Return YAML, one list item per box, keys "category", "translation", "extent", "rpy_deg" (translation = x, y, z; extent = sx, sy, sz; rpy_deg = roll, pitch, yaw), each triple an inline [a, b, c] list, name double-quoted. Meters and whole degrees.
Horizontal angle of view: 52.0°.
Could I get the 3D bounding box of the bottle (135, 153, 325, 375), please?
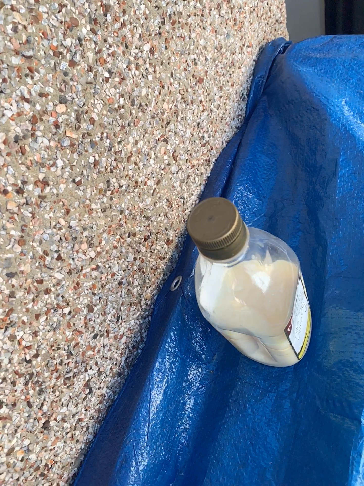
- category: "bottle"
  translation: [0.063, 0.037, 0.306]
  extent: [0.080, 0.238, 0.080]
  rpy_deg: [-9, 61, 18]
